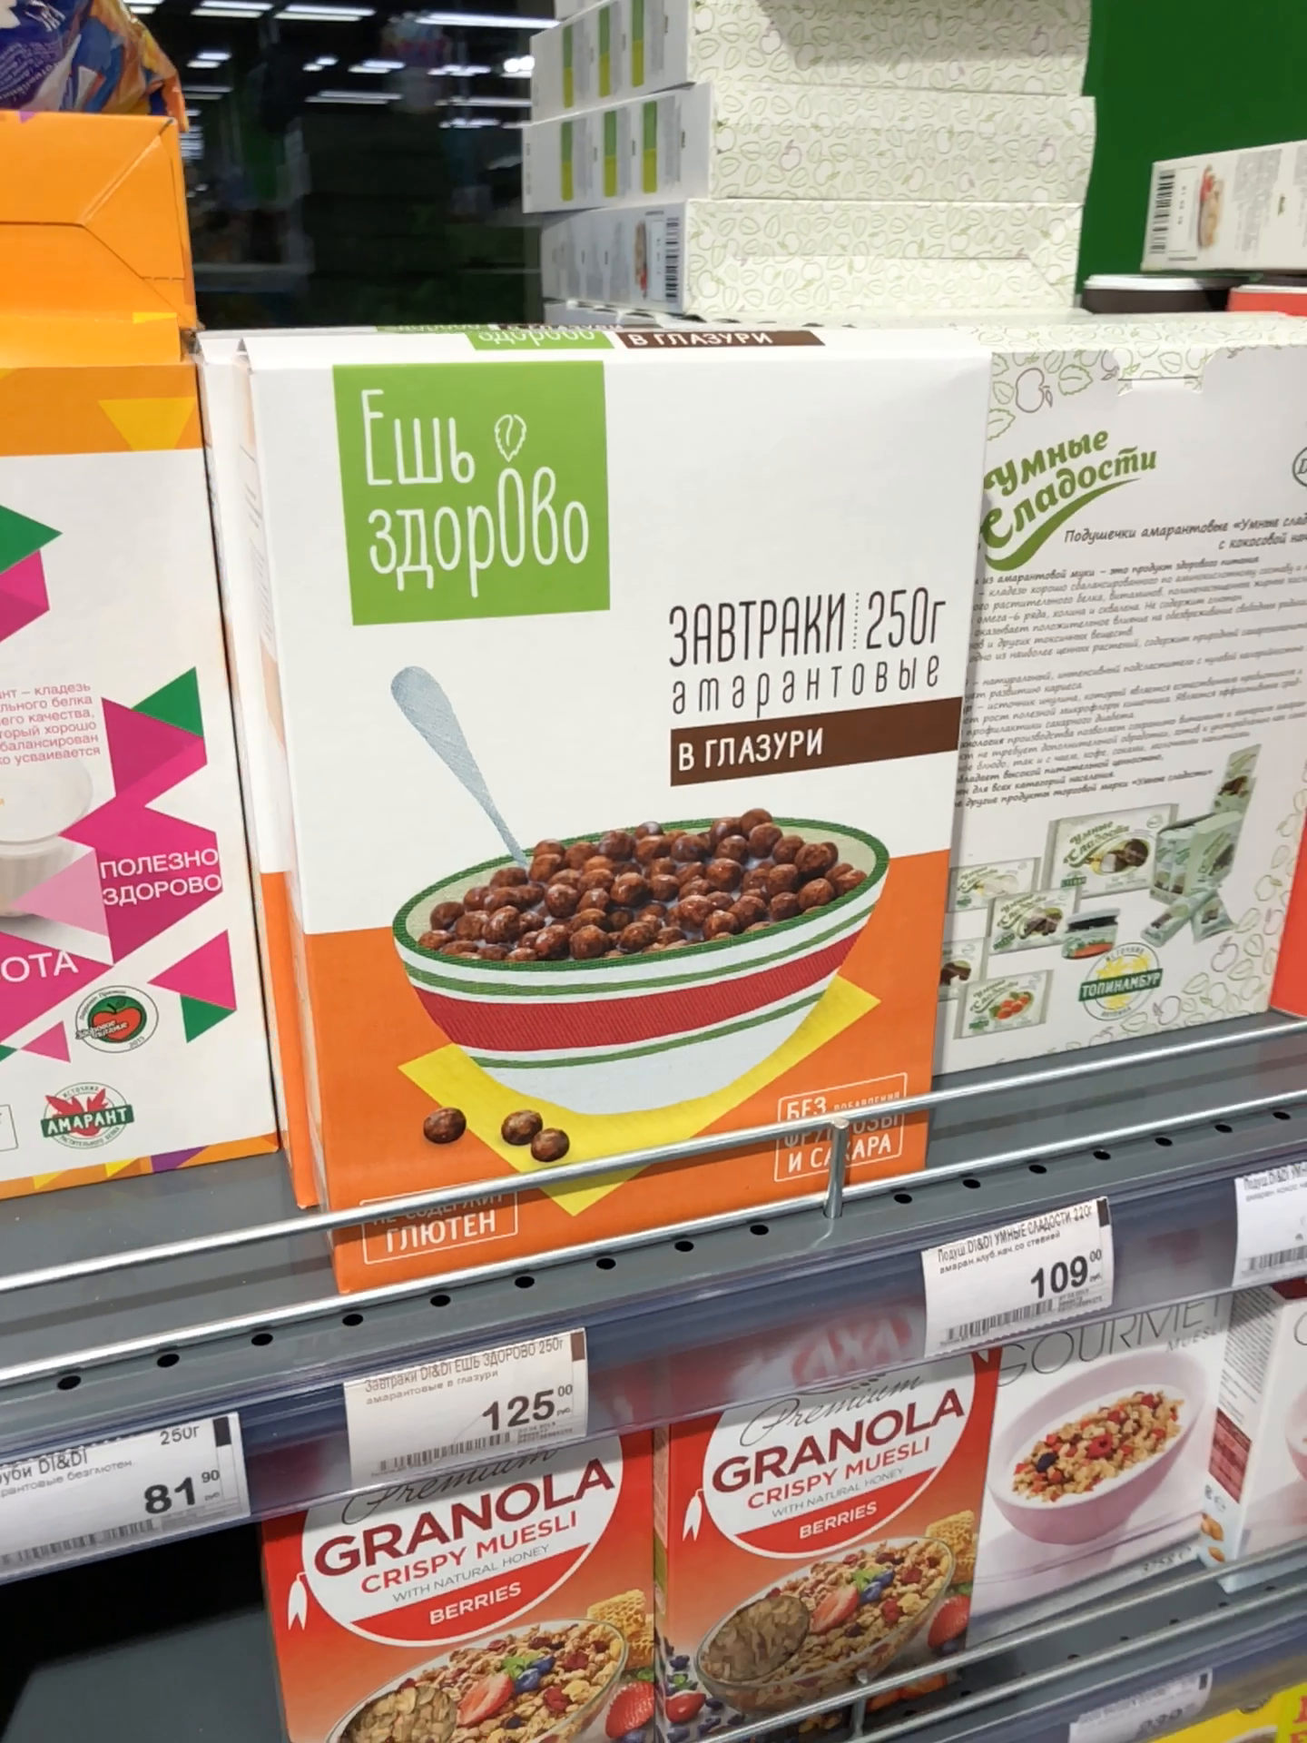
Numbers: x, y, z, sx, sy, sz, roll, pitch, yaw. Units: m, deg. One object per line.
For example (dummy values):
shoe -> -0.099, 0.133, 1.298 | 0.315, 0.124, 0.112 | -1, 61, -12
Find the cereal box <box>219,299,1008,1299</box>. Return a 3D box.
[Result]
cereal box -> -0.008, -0.021, 0.407 | 0.190, 0.259, 0.050 | -8, 24, -18
